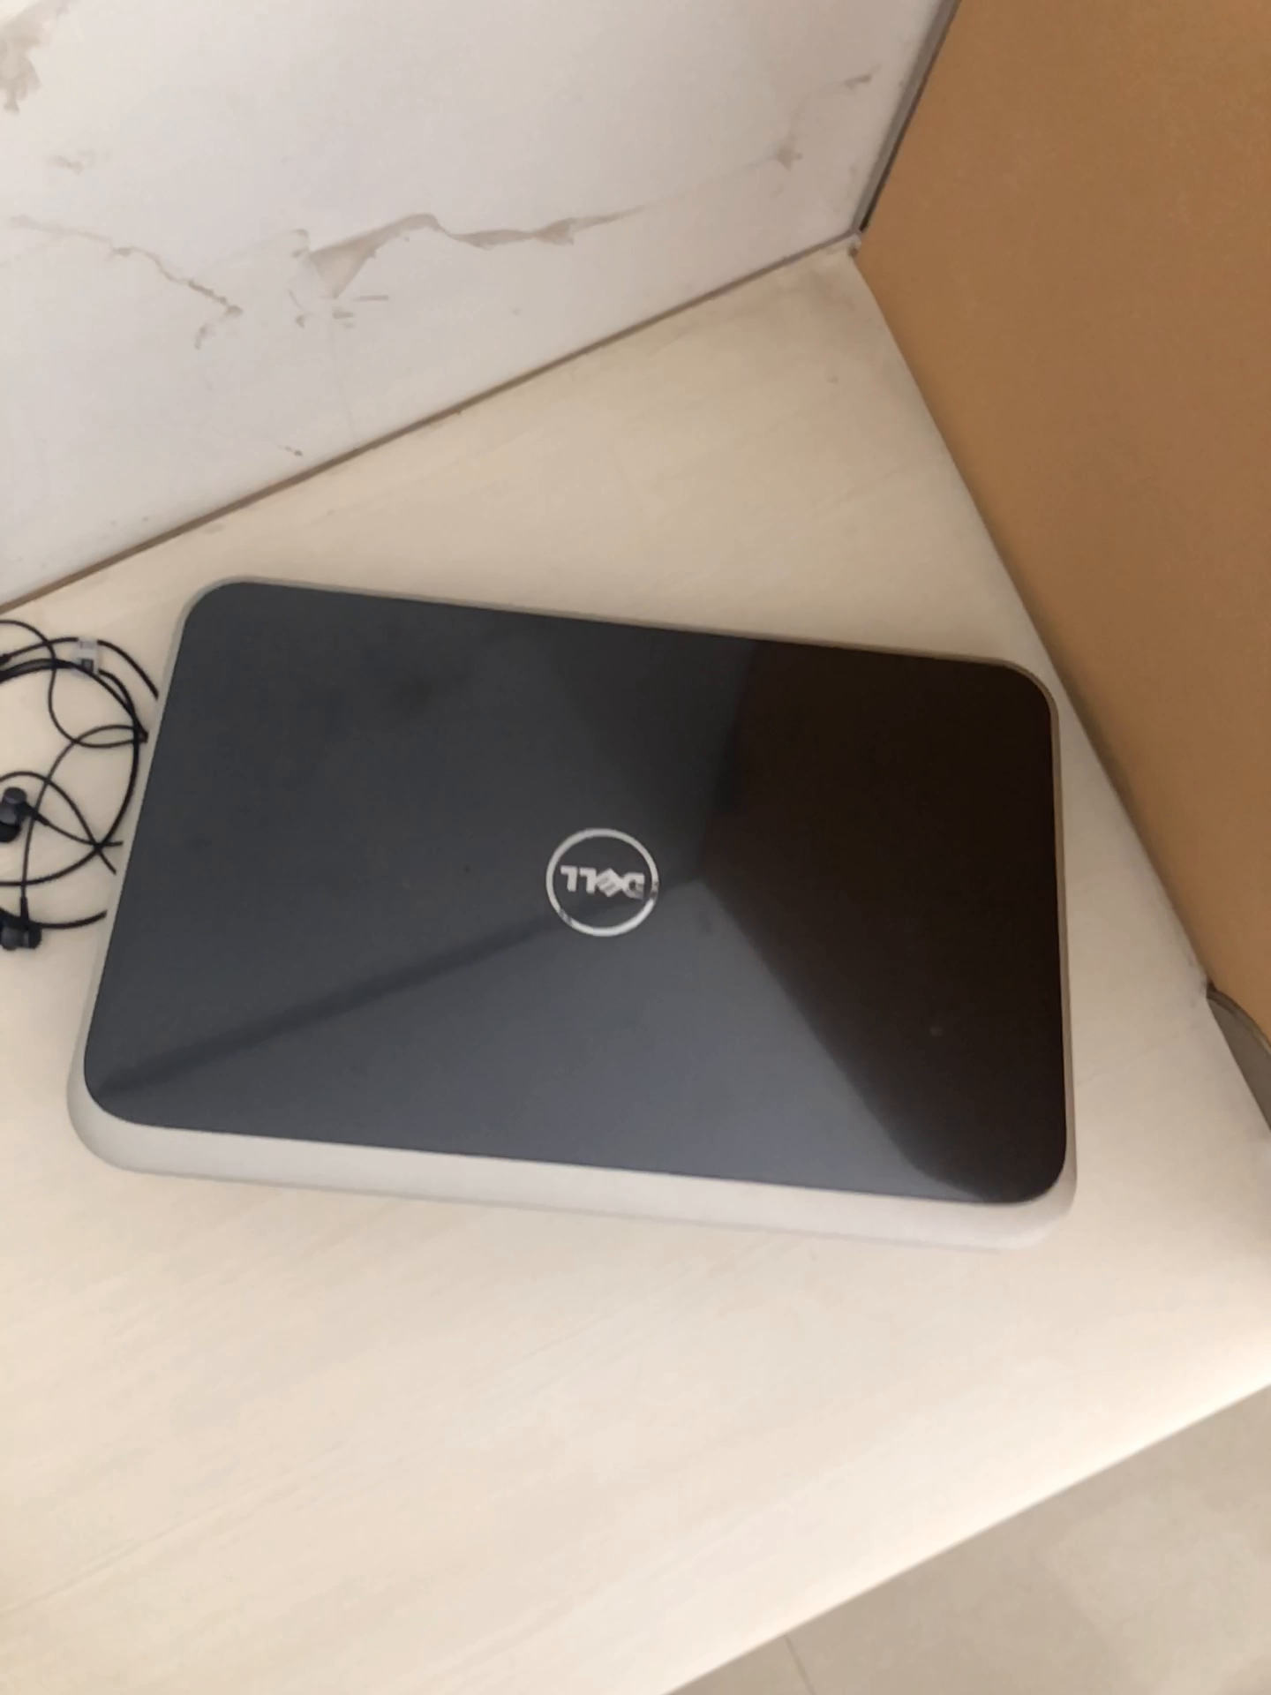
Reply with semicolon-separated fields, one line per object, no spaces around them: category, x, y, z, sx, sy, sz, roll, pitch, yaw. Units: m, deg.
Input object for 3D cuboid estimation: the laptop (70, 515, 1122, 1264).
laptop;-0.010;0.016;0.558;0.357;0.094;0.238;6;84;-2
